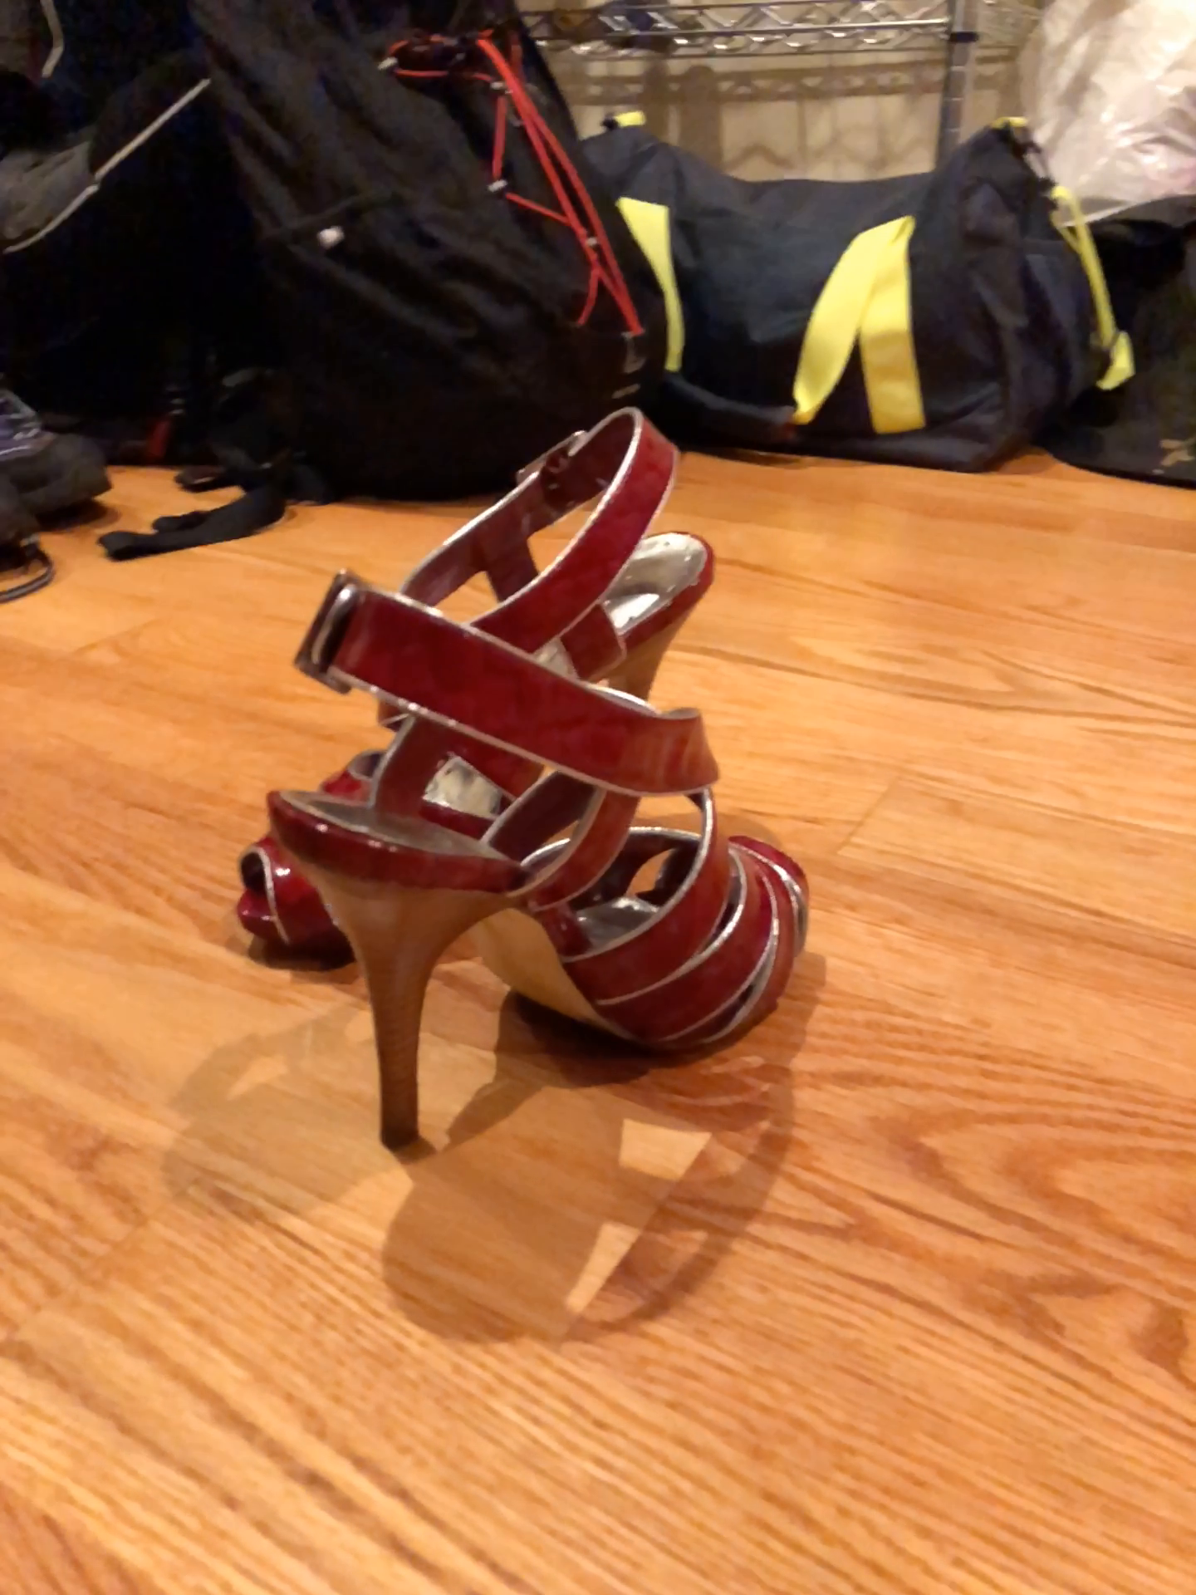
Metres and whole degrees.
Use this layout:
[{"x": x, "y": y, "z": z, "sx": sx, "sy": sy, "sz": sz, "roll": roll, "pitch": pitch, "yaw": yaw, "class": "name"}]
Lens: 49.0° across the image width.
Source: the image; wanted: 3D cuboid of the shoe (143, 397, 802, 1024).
[{"x": -0.033, "y": -0.044, "z": 0.457, "sx": 0.199, "sy": 0.151, "sz": 0.092, "roll": -23, "pitch": 34, "yaw": -38, "class": "shoe"}]

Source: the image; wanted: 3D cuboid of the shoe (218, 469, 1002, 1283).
[{"x": 0.013, "y": 0.003, "z": 0.363, "sx": 0.092, "sy": 0.141, "sz": 0.194, "roll": 22, "pitch": 34, "yaw": 38, "class": "shoe"}]
